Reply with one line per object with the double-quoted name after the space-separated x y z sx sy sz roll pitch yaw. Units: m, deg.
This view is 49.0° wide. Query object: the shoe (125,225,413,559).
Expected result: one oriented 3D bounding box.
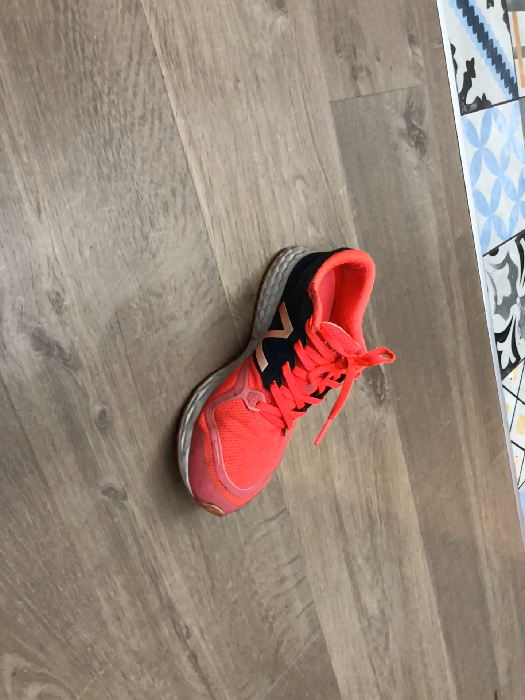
0.014 0.025 0.481 0.100 0.109 0.241 46 62 -35 "shoe"
